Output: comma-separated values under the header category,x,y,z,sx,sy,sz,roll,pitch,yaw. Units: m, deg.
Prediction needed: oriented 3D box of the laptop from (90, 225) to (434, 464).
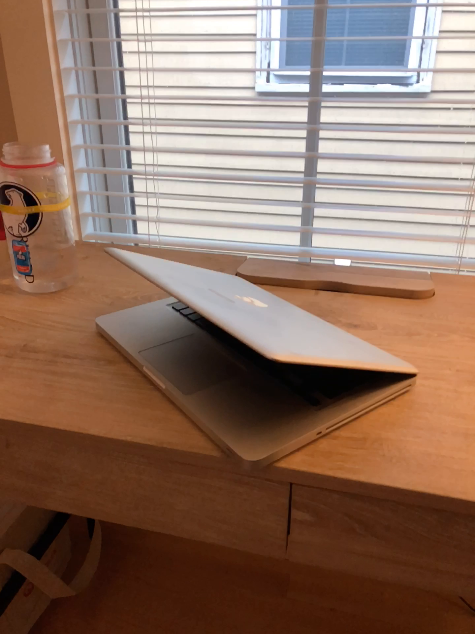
category,x,y,z,sx,sy,sz,roll,pitch,yaw
laptop,0.009,-0.006,0.582,0.229,0.089,0.319,-17,30,-32
